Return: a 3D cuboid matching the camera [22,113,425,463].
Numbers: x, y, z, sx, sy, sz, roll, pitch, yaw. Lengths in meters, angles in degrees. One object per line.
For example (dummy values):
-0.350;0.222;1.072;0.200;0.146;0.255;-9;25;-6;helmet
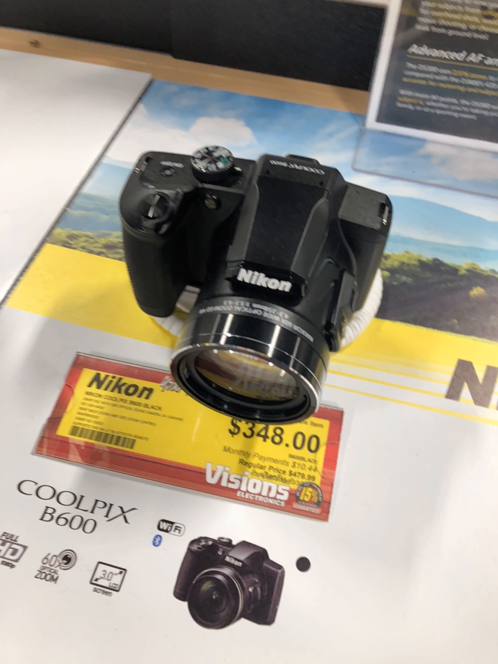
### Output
-0.003;-0.023;0.243;0.130;0.070;0.111;13;55;8;camera
